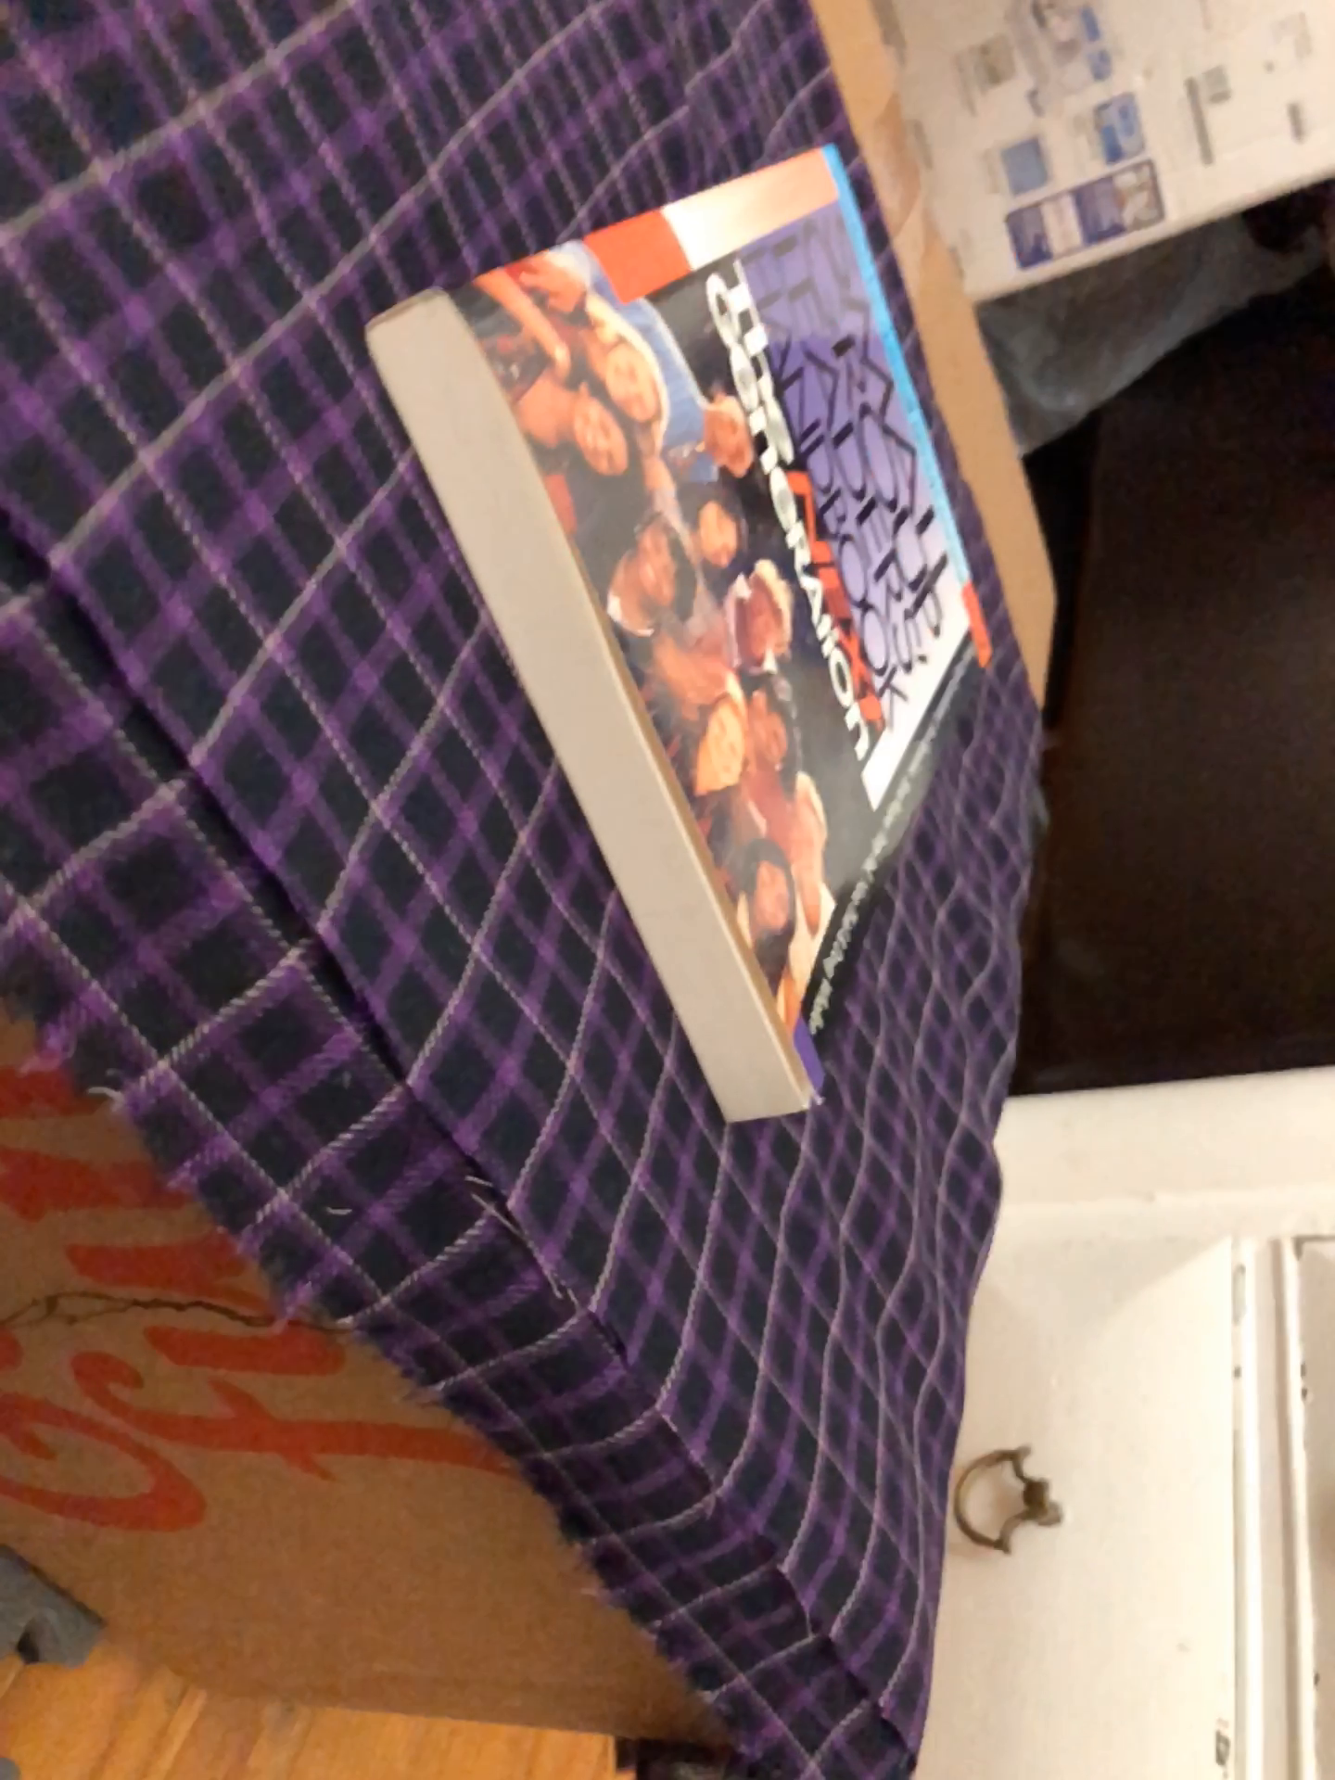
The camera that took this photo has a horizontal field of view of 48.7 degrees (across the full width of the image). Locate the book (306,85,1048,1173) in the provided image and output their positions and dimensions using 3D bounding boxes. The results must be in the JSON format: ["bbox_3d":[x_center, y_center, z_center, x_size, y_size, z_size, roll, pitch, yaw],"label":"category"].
[{"bbox_3d":[0.030,-0.073,0.303,0.150,0.030,0.221,67,30,-22],"label":"book"}]
